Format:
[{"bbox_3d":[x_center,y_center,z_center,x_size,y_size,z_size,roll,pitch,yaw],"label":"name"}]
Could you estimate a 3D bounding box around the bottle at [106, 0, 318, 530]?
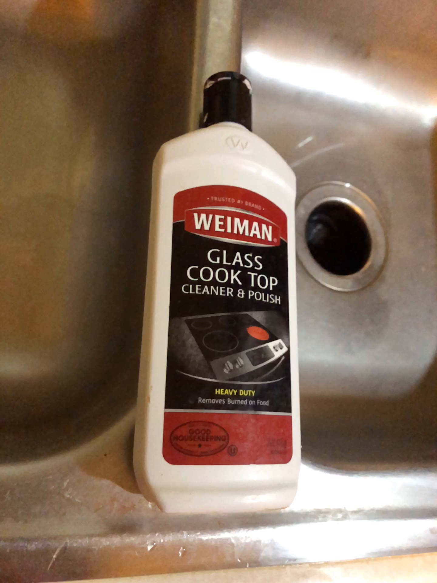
[{"bbox_3d":[-0.003,-0.021,0.242,0.080,0.050,0.240,6,75,-19],"label":"bottle"}]
